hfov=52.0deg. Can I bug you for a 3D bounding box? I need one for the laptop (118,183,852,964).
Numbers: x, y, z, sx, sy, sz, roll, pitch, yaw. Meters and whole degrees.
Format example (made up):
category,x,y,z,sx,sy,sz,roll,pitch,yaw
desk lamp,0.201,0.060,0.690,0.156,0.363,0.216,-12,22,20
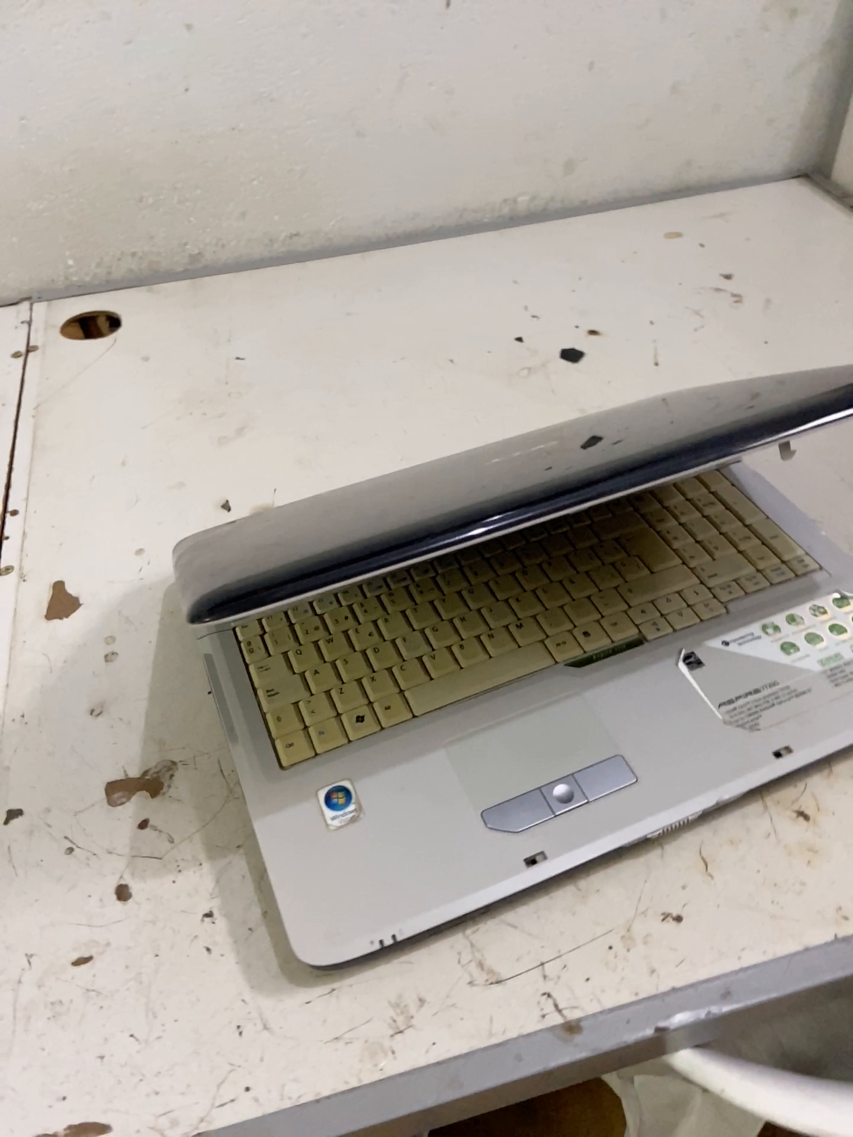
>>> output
category,x,y,z,sx,sy,sz,roll,pitch,yaw
laptop,0.067,-0.034,0.468,0.381,0.164,0.279,-19,46,-13
